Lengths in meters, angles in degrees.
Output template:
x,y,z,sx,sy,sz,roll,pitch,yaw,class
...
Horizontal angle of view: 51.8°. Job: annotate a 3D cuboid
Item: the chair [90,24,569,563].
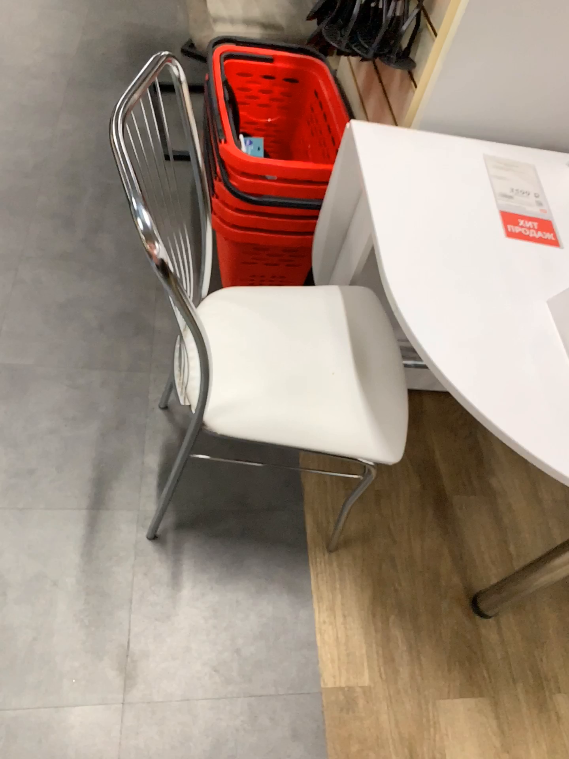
x,y,z,sx,sy,sz,roll,pitch,yaw,class
-0.030,-0.031,1.137,0.550,0.956,0.452,3,54,-12,chair
